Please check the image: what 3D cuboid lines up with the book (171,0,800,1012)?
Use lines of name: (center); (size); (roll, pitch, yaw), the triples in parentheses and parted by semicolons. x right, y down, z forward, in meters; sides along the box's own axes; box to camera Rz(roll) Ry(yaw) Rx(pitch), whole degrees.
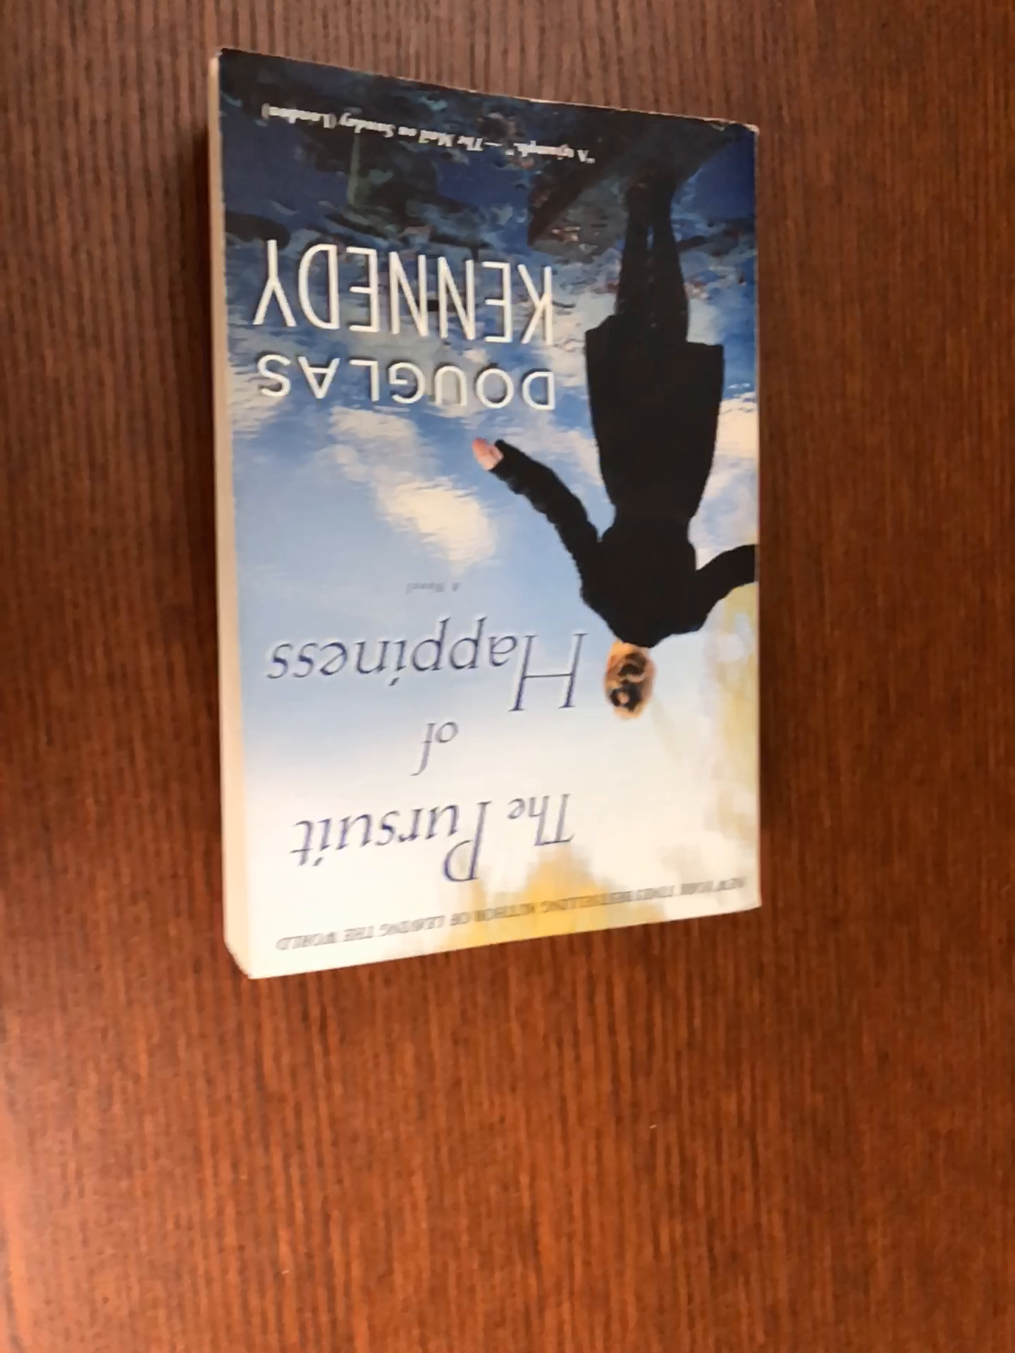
book: (-0.004, -0.045, 0.307); (0.160, 0.050, 0.240); (-2, 93, -20)
